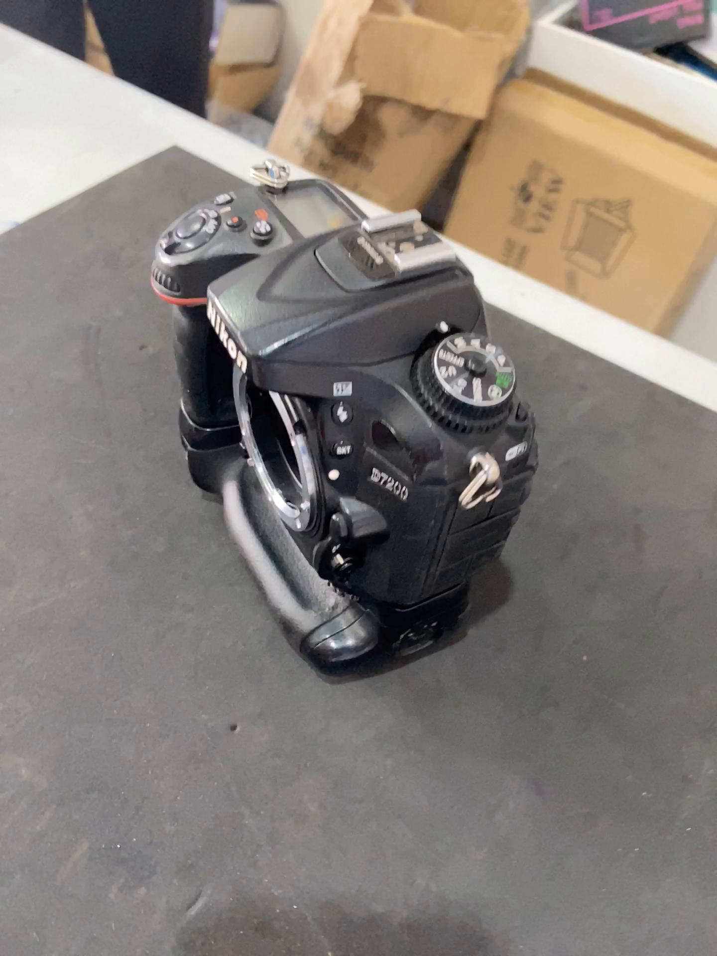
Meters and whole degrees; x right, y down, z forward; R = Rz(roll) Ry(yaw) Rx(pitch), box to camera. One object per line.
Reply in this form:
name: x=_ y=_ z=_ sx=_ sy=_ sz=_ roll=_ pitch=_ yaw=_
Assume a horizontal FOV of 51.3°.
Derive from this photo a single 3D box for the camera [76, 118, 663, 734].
camera: x=-0.008 y=-0.022 z=0.241 sx=0.100 sy=0.109 sz=0.140 roll=-22 pitch=56 yaw=-22
